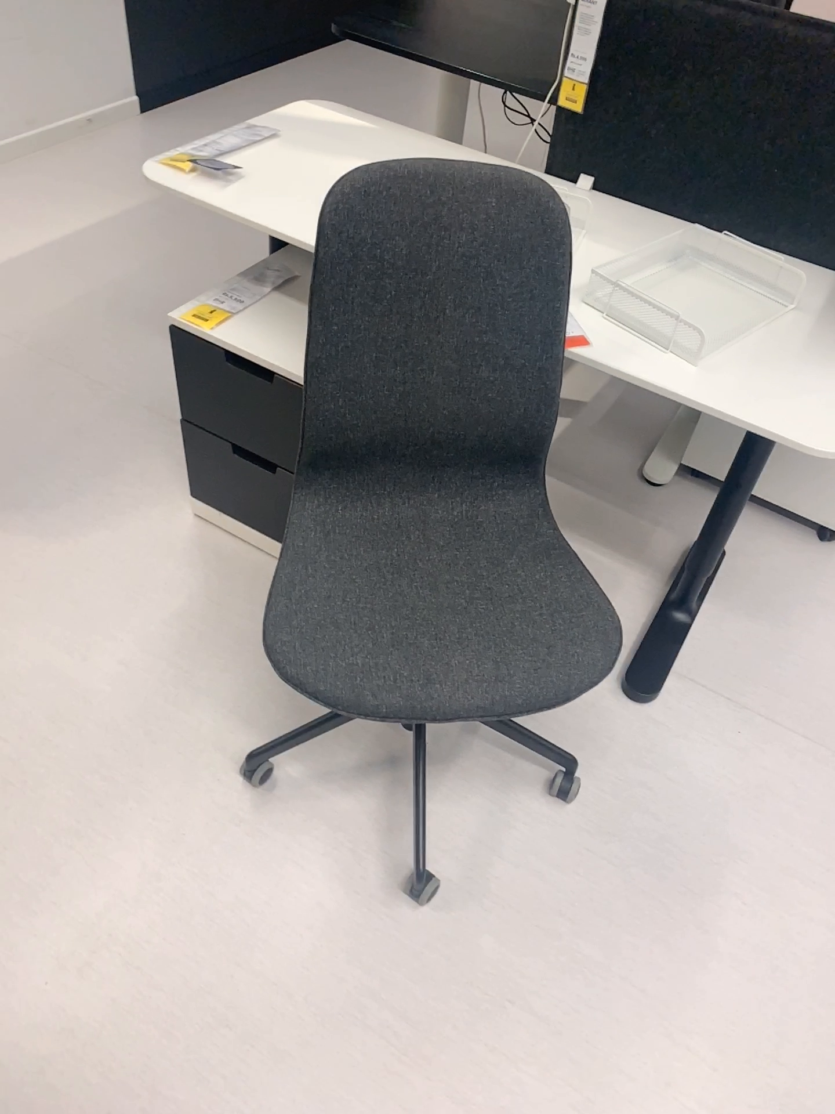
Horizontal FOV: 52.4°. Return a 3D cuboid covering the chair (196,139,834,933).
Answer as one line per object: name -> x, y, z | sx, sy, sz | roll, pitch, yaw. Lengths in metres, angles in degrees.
chair -> 0.029, 0.014, 1.304 | 0.630, 0.997, 0.642 | -4, 47, -11
